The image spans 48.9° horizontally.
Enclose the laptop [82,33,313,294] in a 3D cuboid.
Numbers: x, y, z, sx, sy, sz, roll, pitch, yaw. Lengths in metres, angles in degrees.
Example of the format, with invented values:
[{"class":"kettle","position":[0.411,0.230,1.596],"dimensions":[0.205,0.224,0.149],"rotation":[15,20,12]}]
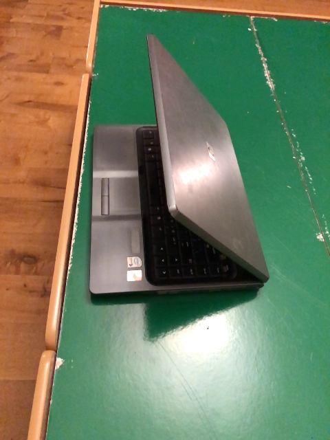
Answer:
[{"class":"laptop","position":[0.012,-0.087,0.507],"dimensions":[0.226,0.171,0.317],"rotation":[-2,56,-7]}]
